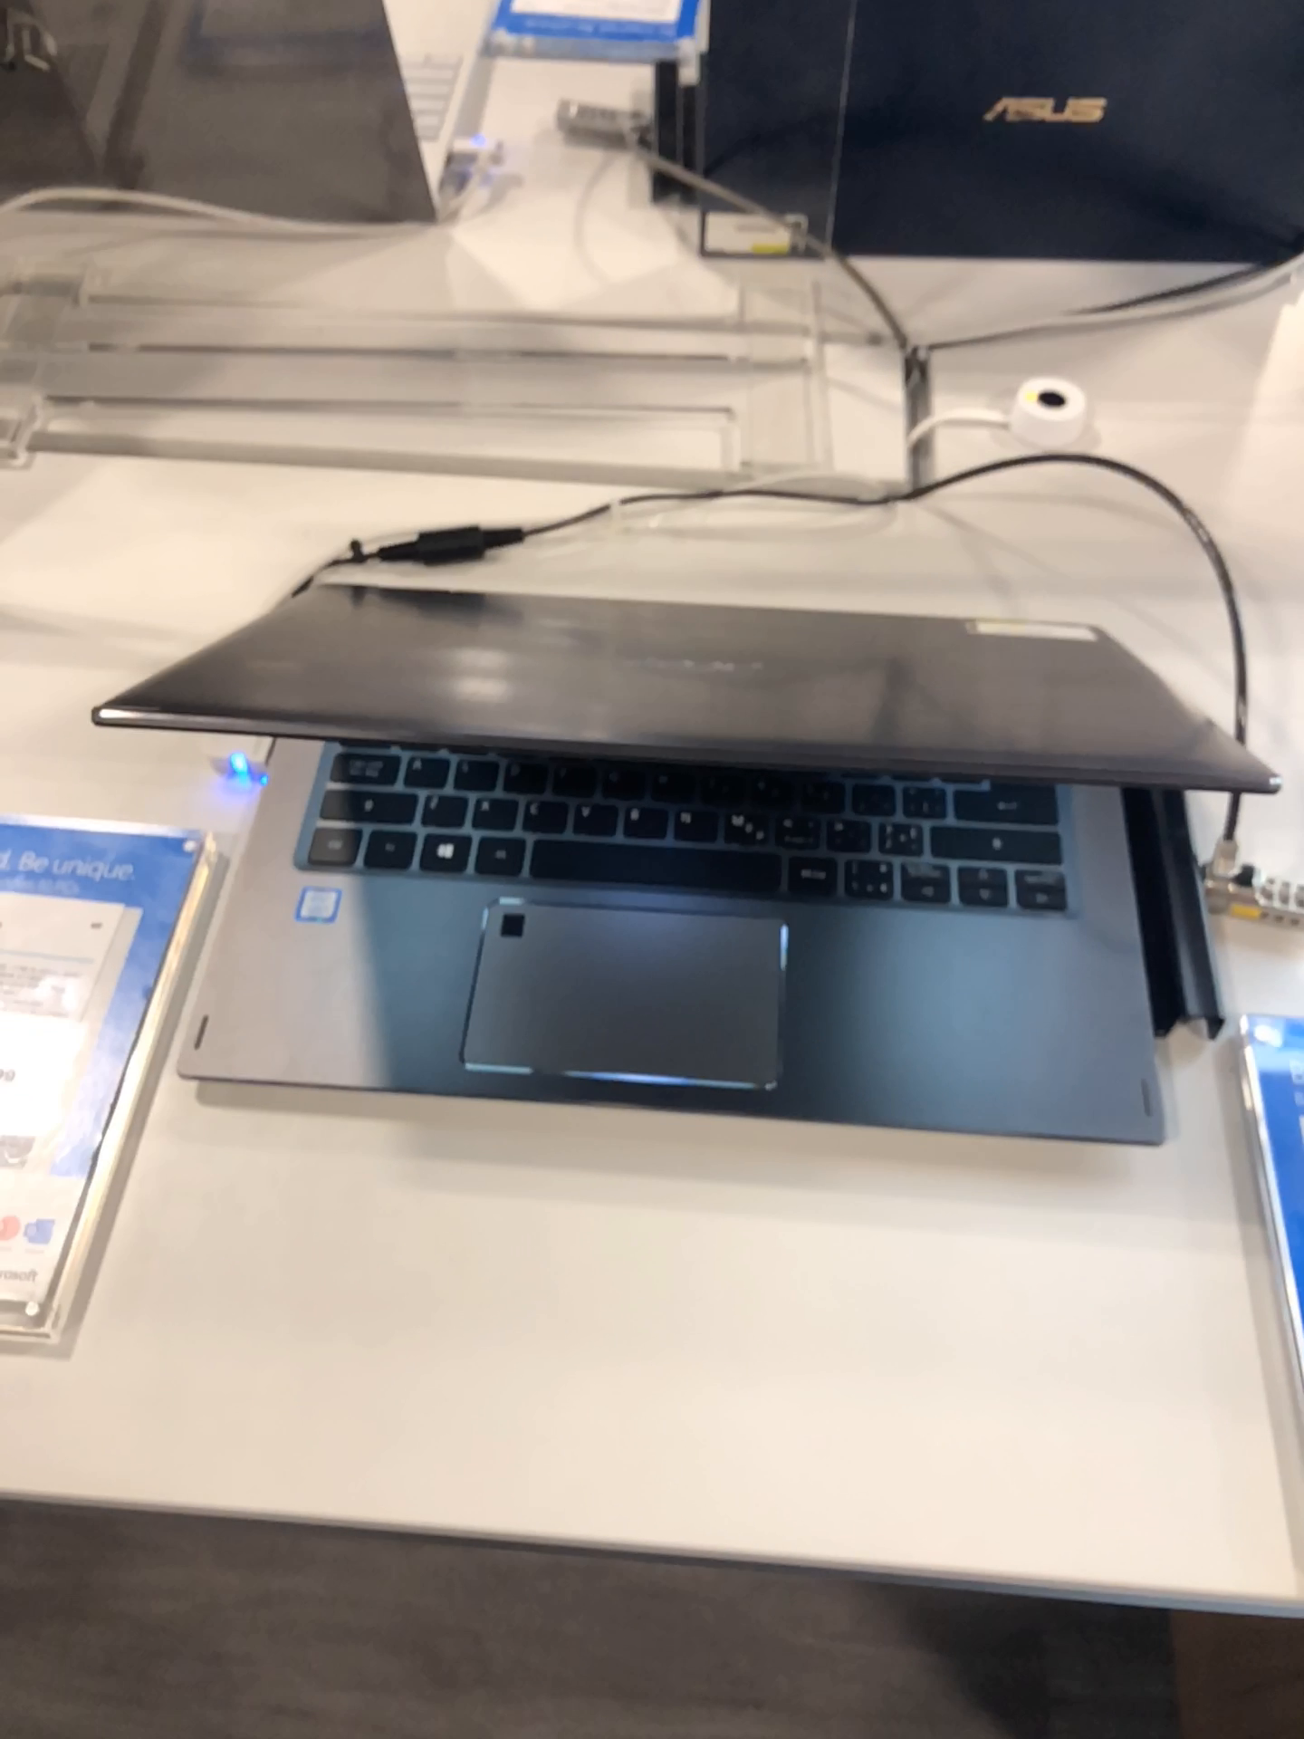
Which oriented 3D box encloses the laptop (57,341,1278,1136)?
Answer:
[{"bbox_3d":[0.011,-0.047,0.468,0.301,0.124,0.212,4,55,3],"label":"laptop"}]
